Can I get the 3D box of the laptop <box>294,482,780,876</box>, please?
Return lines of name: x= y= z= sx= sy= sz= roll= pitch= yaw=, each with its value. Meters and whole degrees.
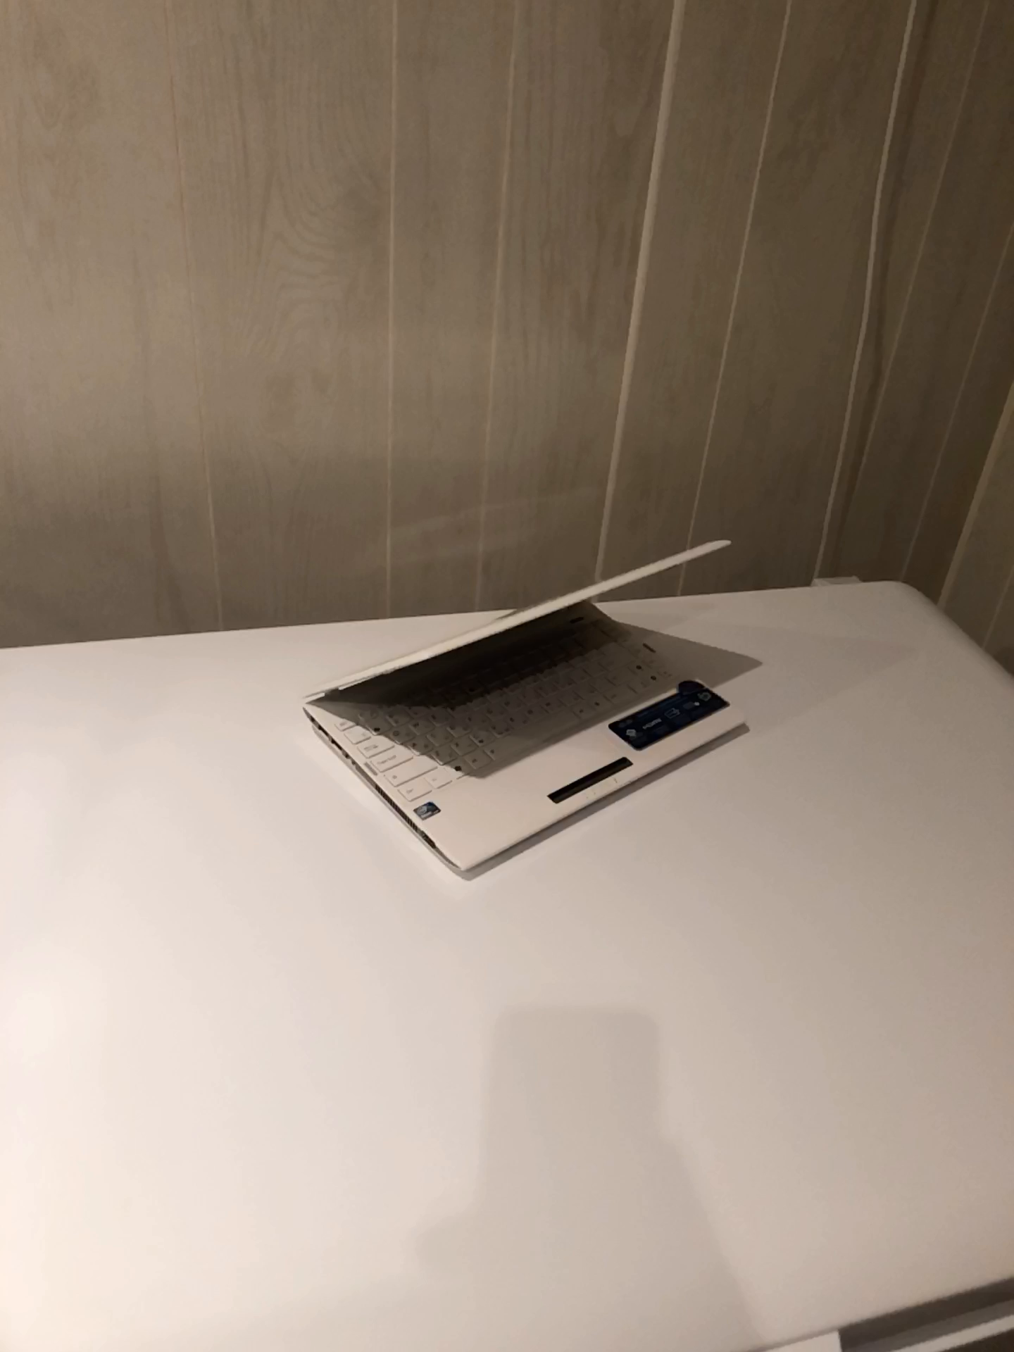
laptop: x=0.024 y=-0.016 z=0.846 sx=0.299 sy=0.115 sz=0.198 roll=-23 pitch=48 yaw=-35
